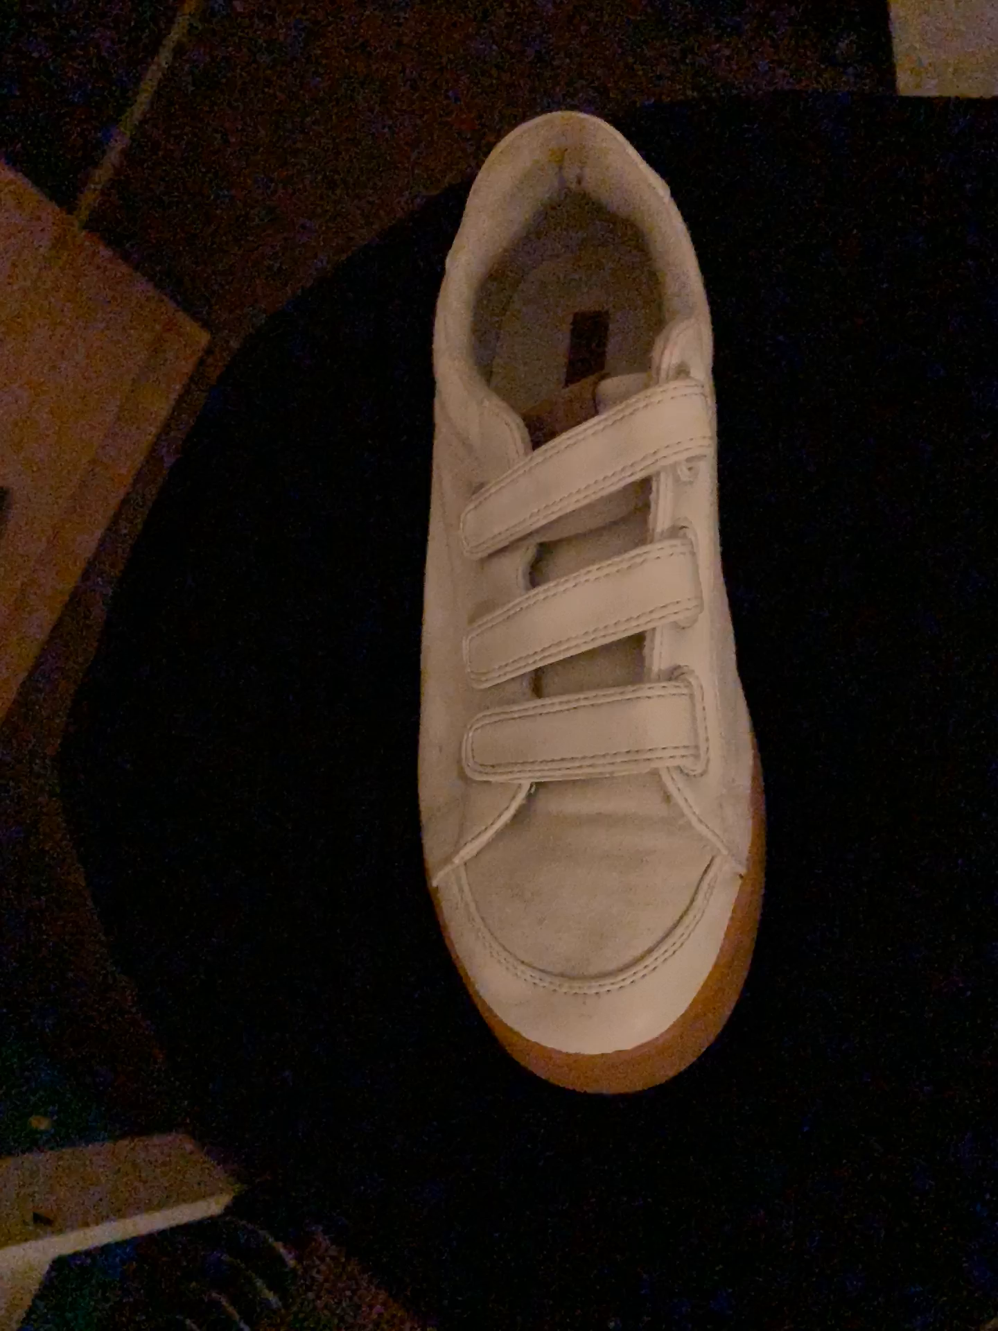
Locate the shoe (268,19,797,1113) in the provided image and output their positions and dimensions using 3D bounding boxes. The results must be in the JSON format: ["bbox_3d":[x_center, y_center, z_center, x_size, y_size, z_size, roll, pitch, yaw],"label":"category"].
[{"bbox_3d":[0.011,-0.025,0.274,0.096,0.080,0.255,-9,70,23],"label":"shoe"}]
